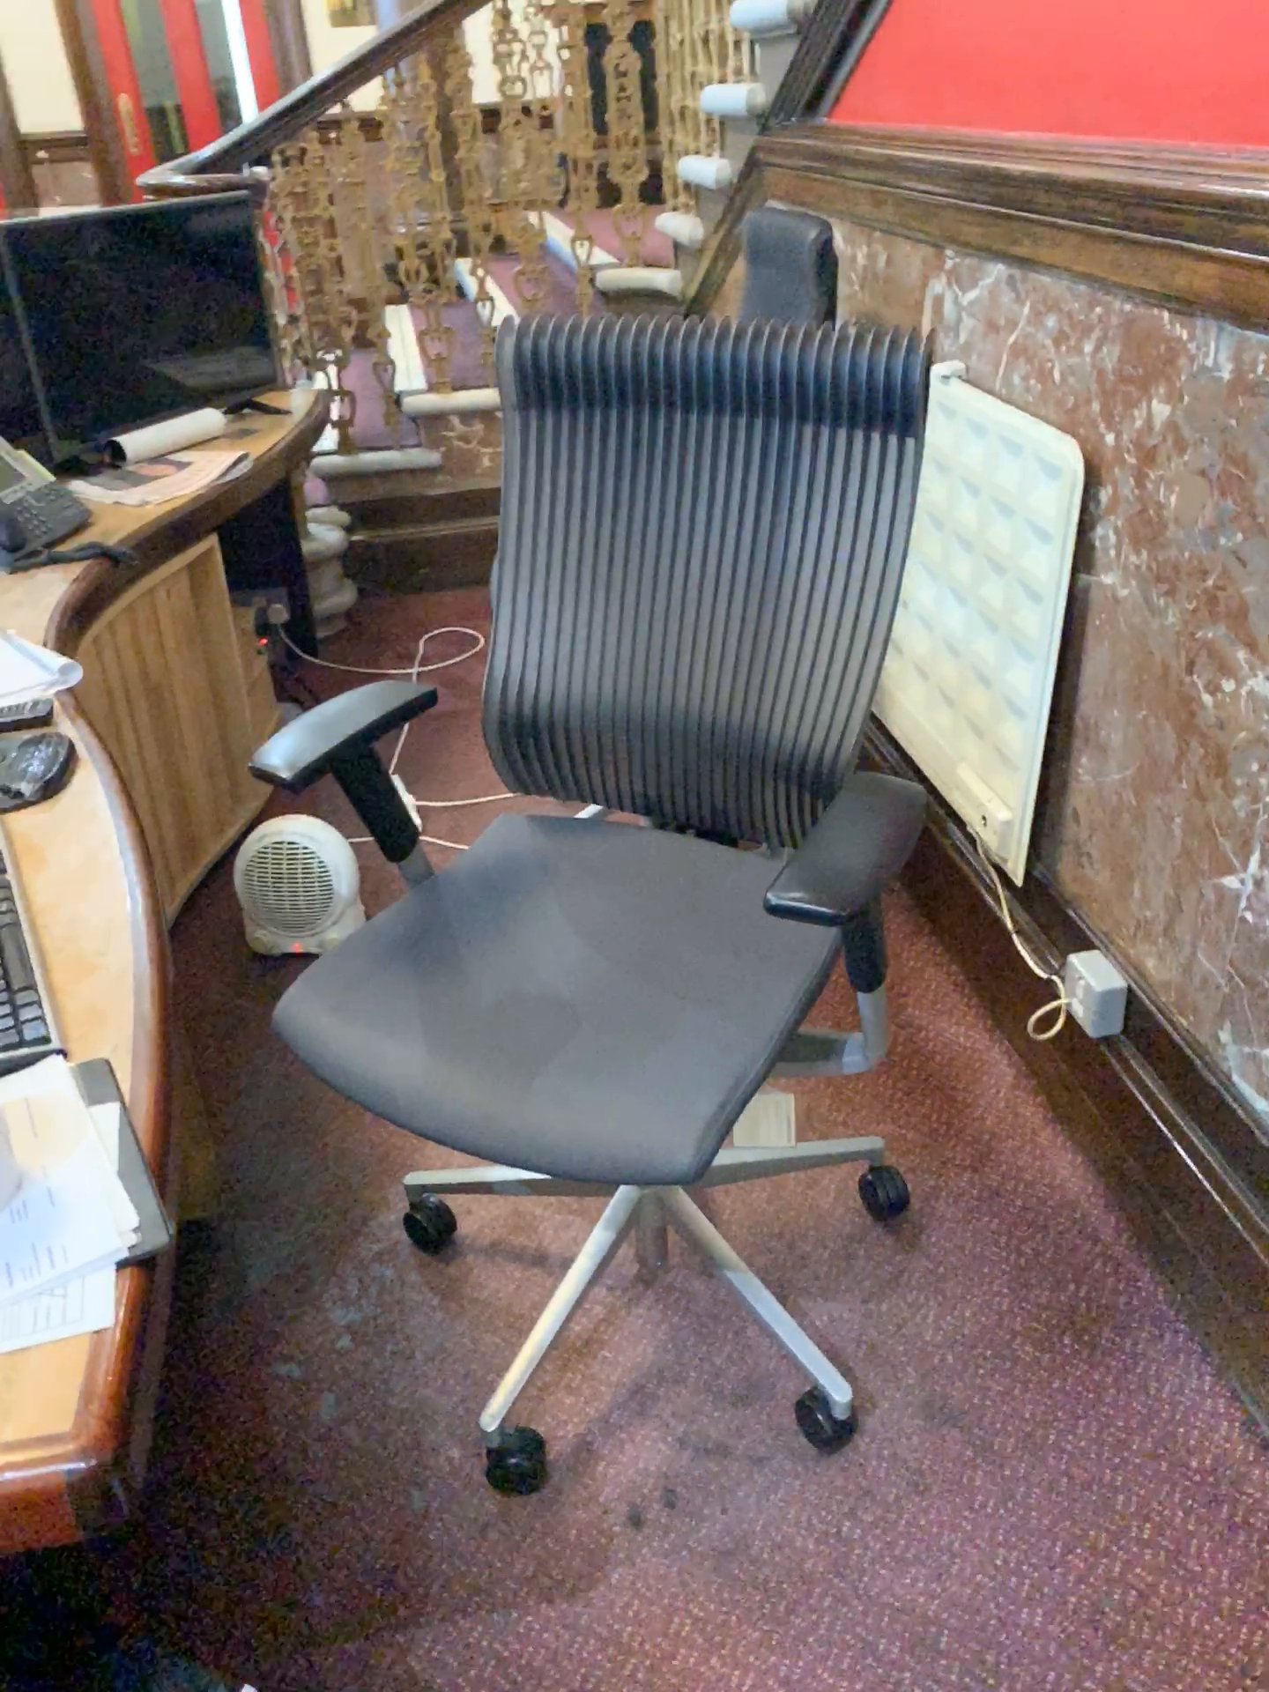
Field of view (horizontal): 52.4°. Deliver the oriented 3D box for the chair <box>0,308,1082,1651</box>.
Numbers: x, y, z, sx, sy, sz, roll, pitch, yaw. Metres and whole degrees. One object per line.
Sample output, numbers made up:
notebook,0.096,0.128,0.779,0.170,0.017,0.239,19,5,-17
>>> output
chair,-0.024,0.074,1.426,0.722,1.130,0.694,14,34,27
